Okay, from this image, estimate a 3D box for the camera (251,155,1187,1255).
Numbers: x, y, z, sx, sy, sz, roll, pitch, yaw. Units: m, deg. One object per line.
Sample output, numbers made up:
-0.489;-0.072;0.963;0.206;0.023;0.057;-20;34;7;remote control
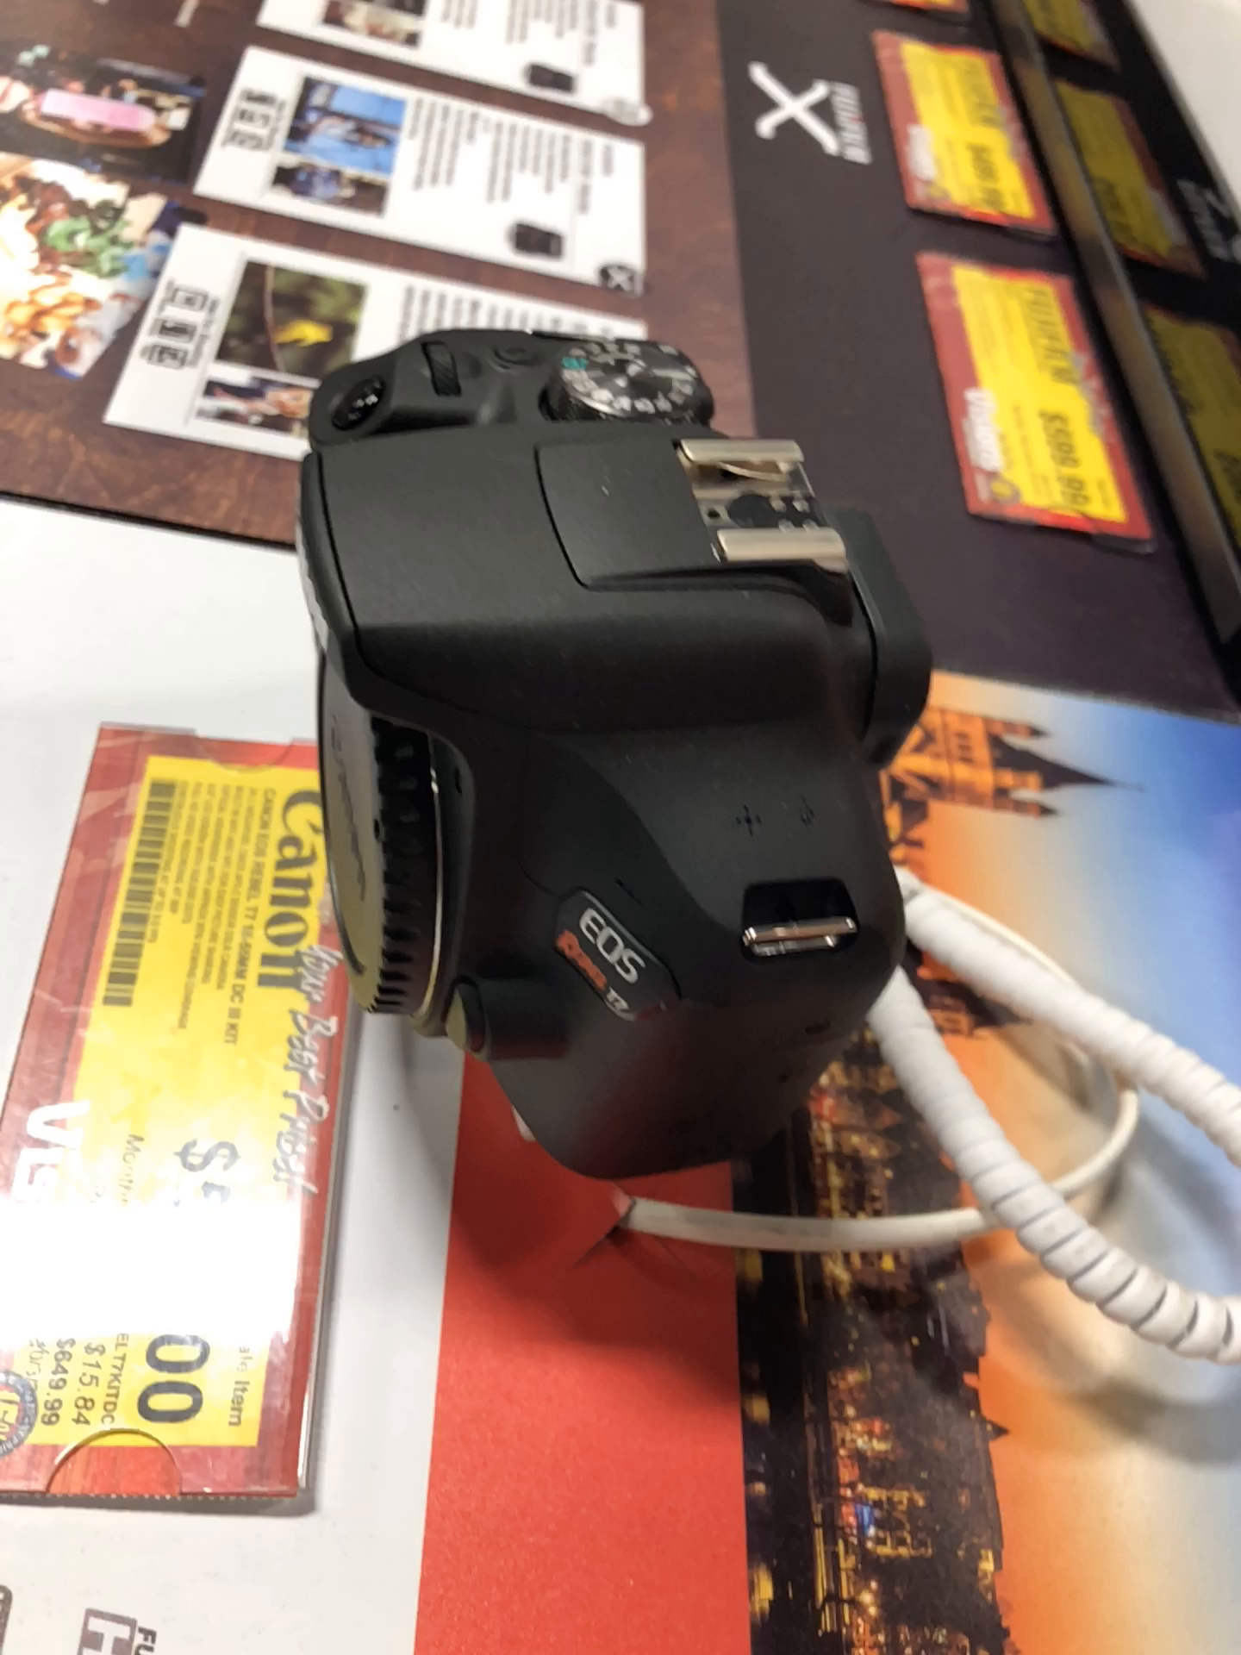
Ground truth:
-0.004;-0.020;0.214;0.090;0.089;0.131;-3;54;-19;camera
